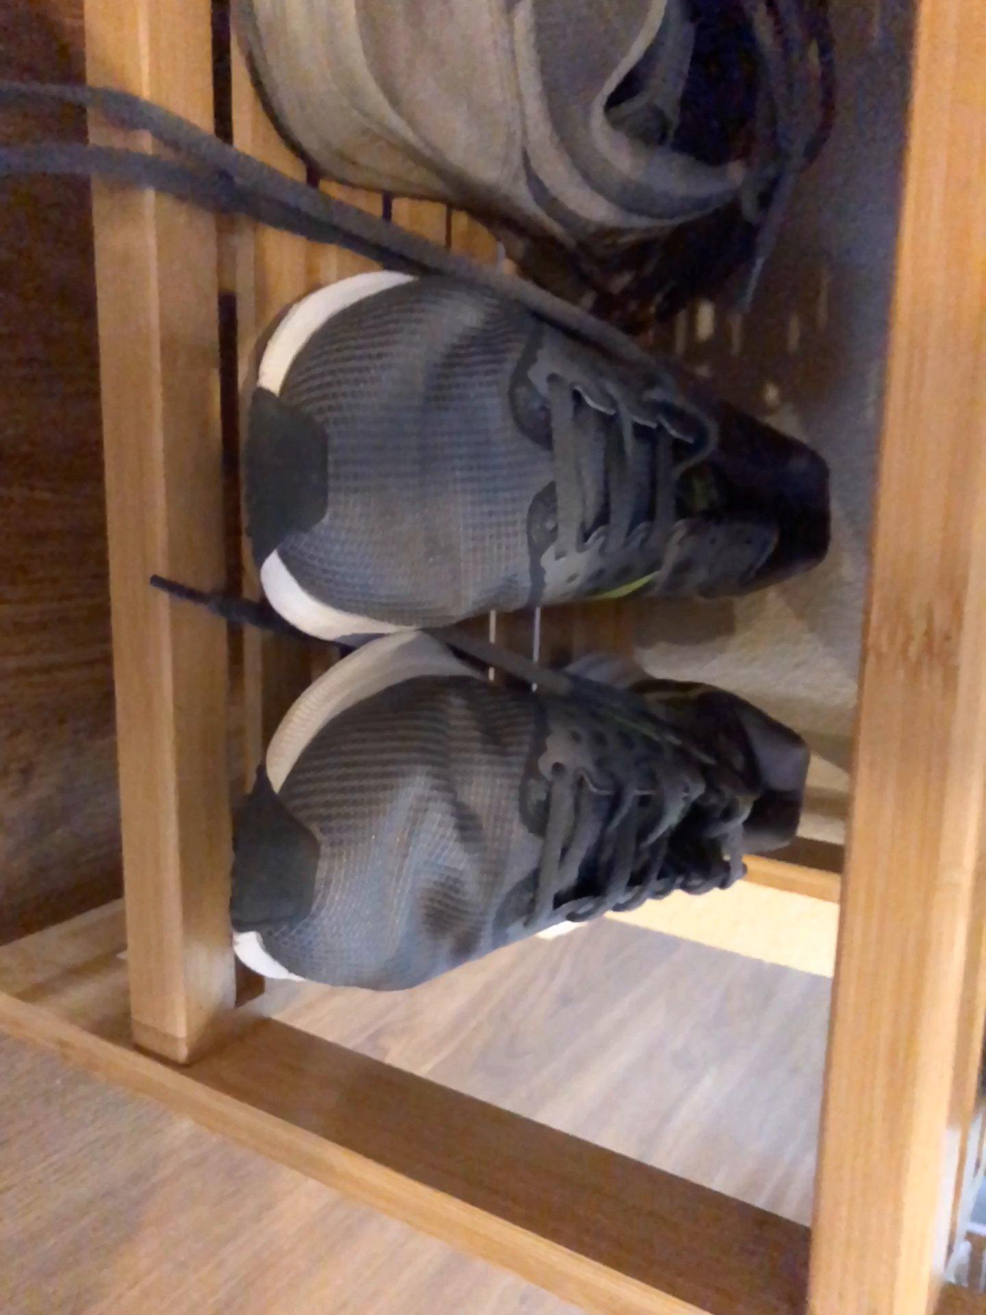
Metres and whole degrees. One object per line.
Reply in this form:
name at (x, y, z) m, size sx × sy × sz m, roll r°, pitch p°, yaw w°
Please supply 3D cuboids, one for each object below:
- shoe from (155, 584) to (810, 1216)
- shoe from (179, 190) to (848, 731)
shoe at (0.027, 0.048, 0.397) m, size 0.312 × 0.070 × 0.120 m, roll -13°, pitch 108°, yaw -57°
shoe at (0.039, -0.062, 0.378) m, size 0.312 × 0.070 × 0.110 m, roll -13°, pitch 108°, yaw -57°
